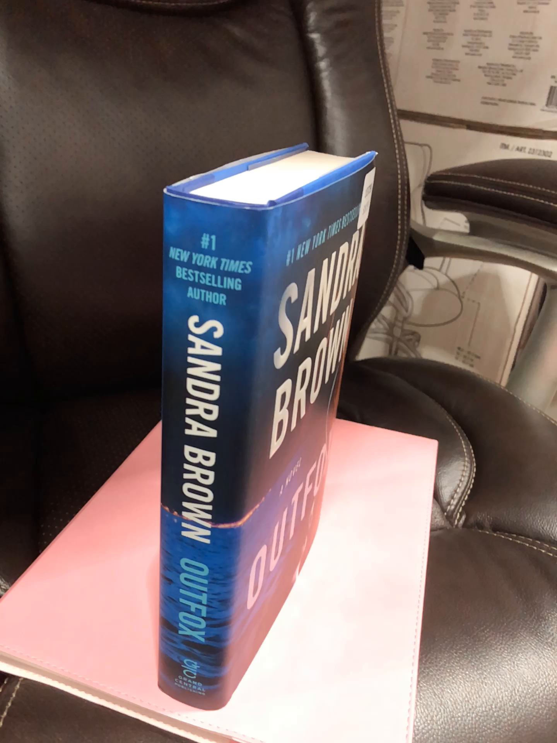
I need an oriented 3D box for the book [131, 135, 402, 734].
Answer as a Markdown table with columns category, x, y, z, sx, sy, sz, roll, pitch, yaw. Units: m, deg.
| category | x | y | z | sx | sy | sz | roll | pitch | yaw |
| --- | --- | --- | --- | --- | --- | --- | --- | --- | --- |
| book | -0.003 | 0.018 | 0.296 | 0.048 | 0.228 | 0.168 | 15 | 28 | 14 |
